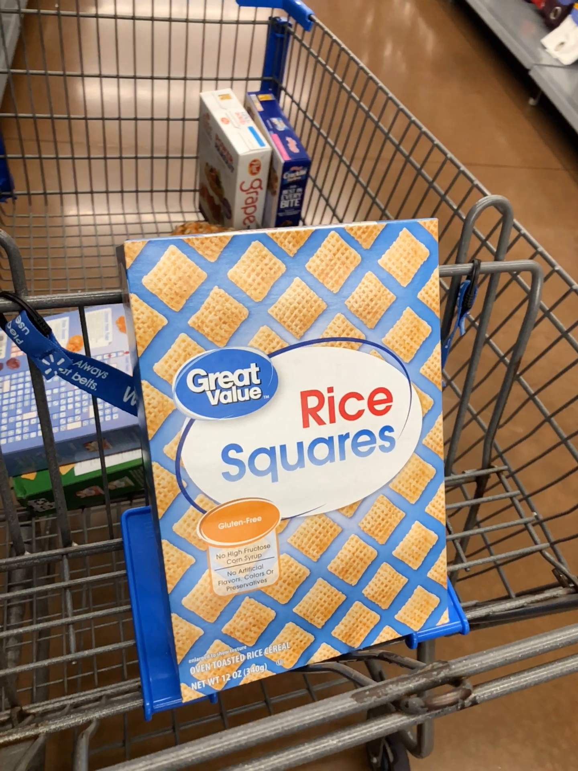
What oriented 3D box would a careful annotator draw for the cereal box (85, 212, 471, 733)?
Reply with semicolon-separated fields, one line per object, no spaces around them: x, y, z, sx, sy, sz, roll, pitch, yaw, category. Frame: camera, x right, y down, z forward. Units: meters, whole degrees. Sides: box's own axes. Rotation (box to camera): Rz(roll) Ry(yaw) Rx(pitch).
-0.001;0.043;0.413;0.210;0.280;0.080;-9;12;-18;cereal box
